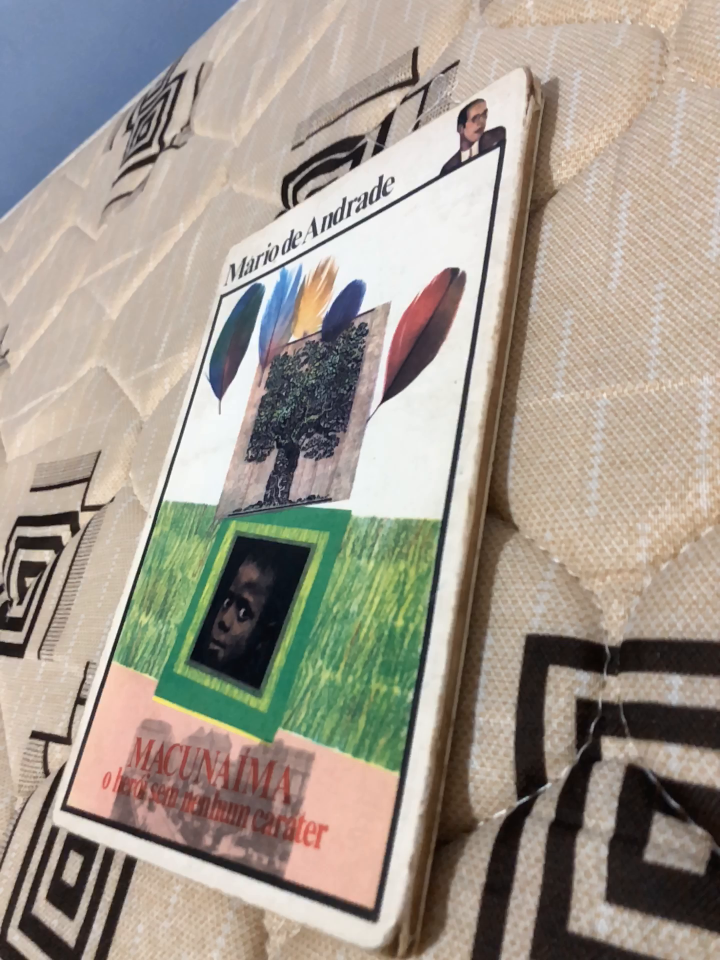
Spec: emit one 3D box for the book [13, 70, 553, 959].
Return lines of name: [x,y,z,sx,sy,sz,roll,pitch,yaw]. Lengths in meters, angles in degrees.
book: [-0.022,0.001,0.209,0.131,0.020,0.190,-11,59,46]
